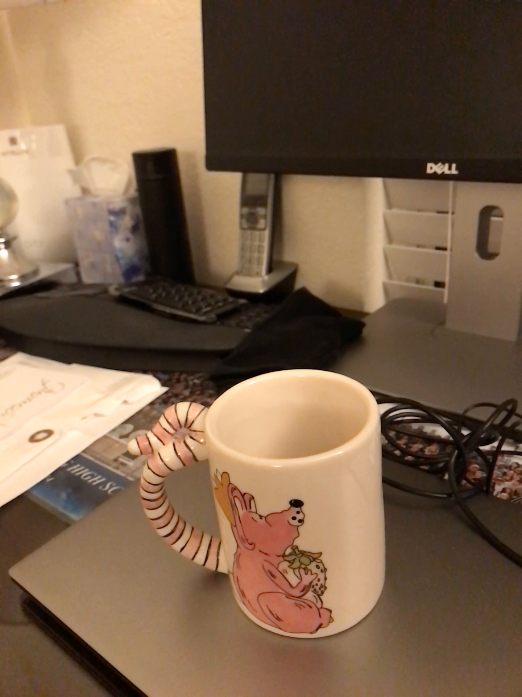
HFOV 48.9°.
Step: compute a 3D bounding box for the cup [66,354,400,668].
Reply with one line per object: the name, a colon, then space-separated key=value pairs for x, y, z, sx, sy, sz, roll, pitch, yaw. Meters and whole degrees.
cup: x=-0.004 y=0.068 z=0.276 sx=0.130 sy=0.099 sz=0.081 roll=3 pitch=25 yaw=18
